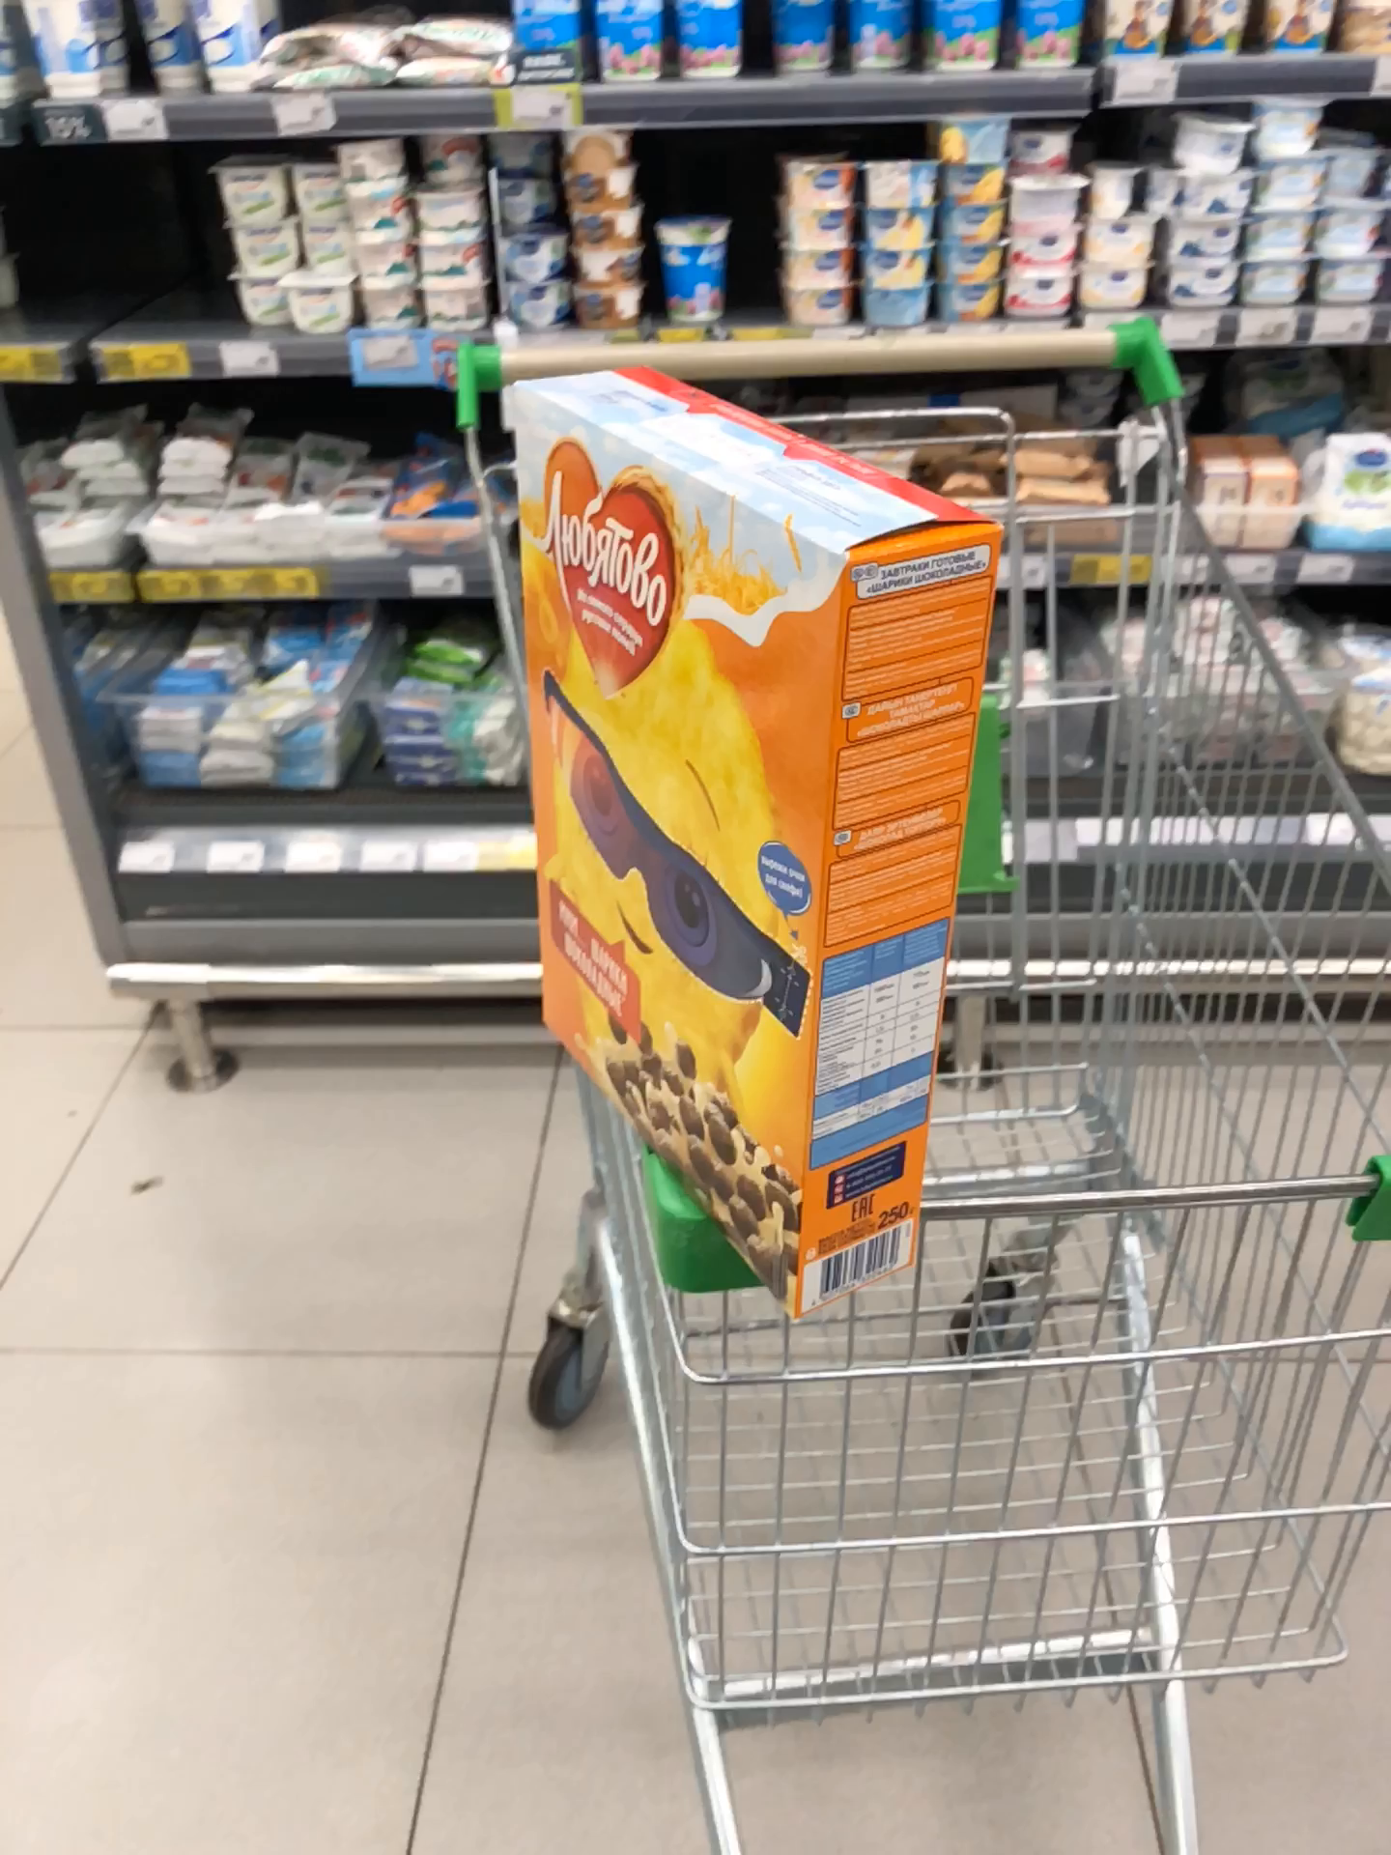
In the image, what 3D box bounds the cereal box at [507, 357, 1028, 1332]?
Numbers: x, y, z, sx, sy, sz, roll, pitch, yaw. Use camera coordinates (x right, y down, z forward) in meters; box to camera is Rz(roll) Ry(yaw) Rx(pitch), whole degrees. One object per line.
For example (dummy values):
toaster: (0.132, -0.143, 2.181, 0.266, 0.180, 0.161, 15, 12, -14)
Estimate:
cereal box: (0.008, -0.033, 0.509, 0.050, 0.258, 0.201, -17, 36, -26)
